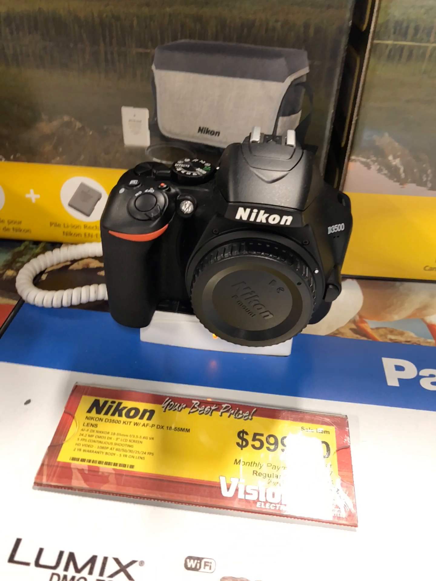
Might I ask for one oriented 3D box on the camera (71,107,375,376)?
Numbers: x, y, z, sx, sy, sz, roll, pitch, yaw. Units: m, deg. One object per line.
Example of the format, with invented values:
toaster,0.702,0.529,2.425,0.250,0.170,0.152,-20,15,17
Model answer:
camera,0.004,-0.027,0.251,0.120,0.099,0.081,7,38,5
